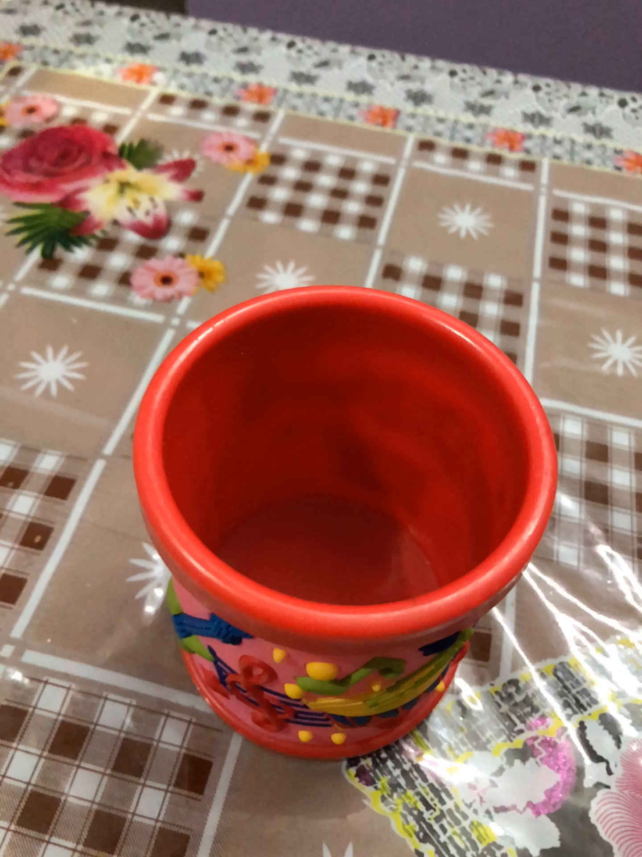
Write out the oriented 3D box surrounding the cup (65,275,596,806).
[{"bbox_3d":[0.001,0.032,0.172,0.080,0.100,0.080,2,53,-3],"label":"cup"}]
